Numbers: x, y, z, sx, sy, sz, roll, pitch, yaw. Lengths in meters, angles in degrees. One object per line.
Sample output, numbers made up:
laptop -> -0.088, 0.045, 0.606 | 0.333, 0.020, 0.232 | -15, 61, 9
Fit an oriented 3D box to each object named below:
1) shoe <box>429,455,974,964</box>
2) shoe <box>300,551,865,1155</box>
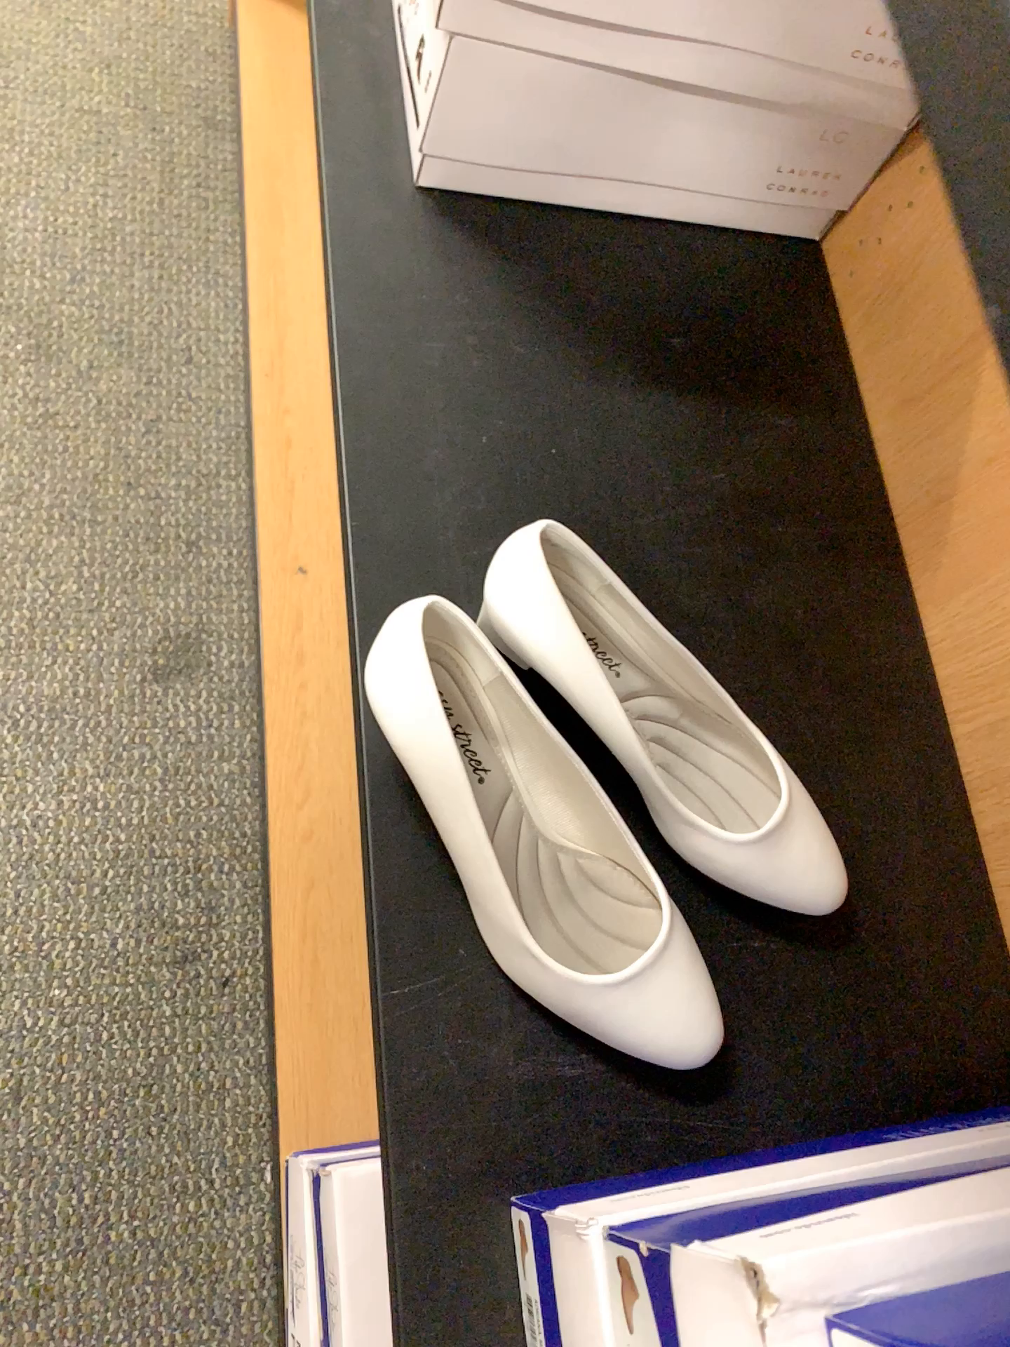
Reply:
shoe -> 0.089, 0.023, 0.518 | 0.250, 0.100, 0.080 | 43, 64, 3
shoe -> 0.024, 0.084, 0.479 | 0.090, 0.110, 0.250 | -38, 83, -25
